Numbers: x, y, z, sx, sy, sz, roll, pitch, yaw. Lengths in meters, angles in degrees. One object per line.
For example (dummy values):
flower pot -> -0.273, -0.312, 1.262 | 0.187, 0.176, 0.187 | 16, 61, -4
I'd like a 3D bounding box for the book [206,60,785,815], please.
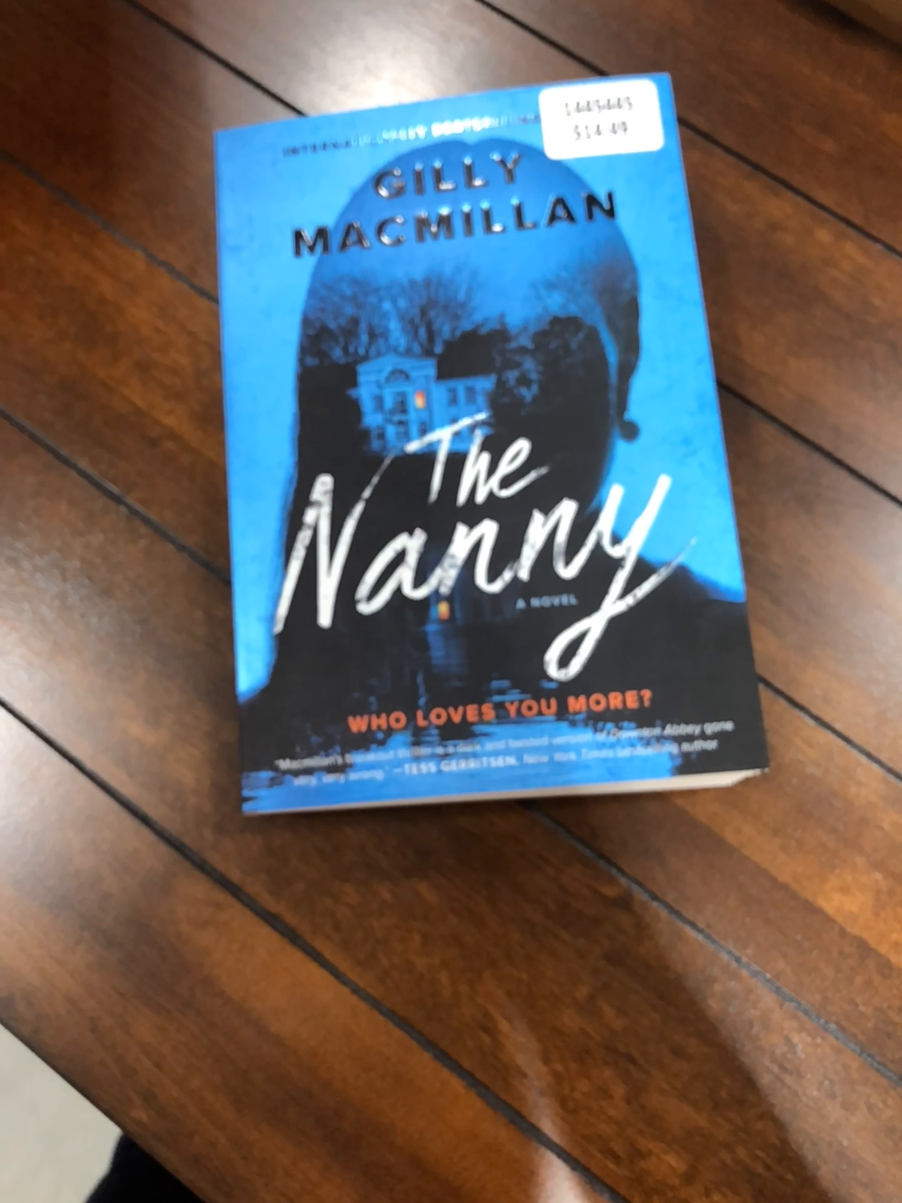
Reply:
book -> 0.006, -0.054, 0.328 | 0.160, 0.040, 0.230 | -4, 76, 5
